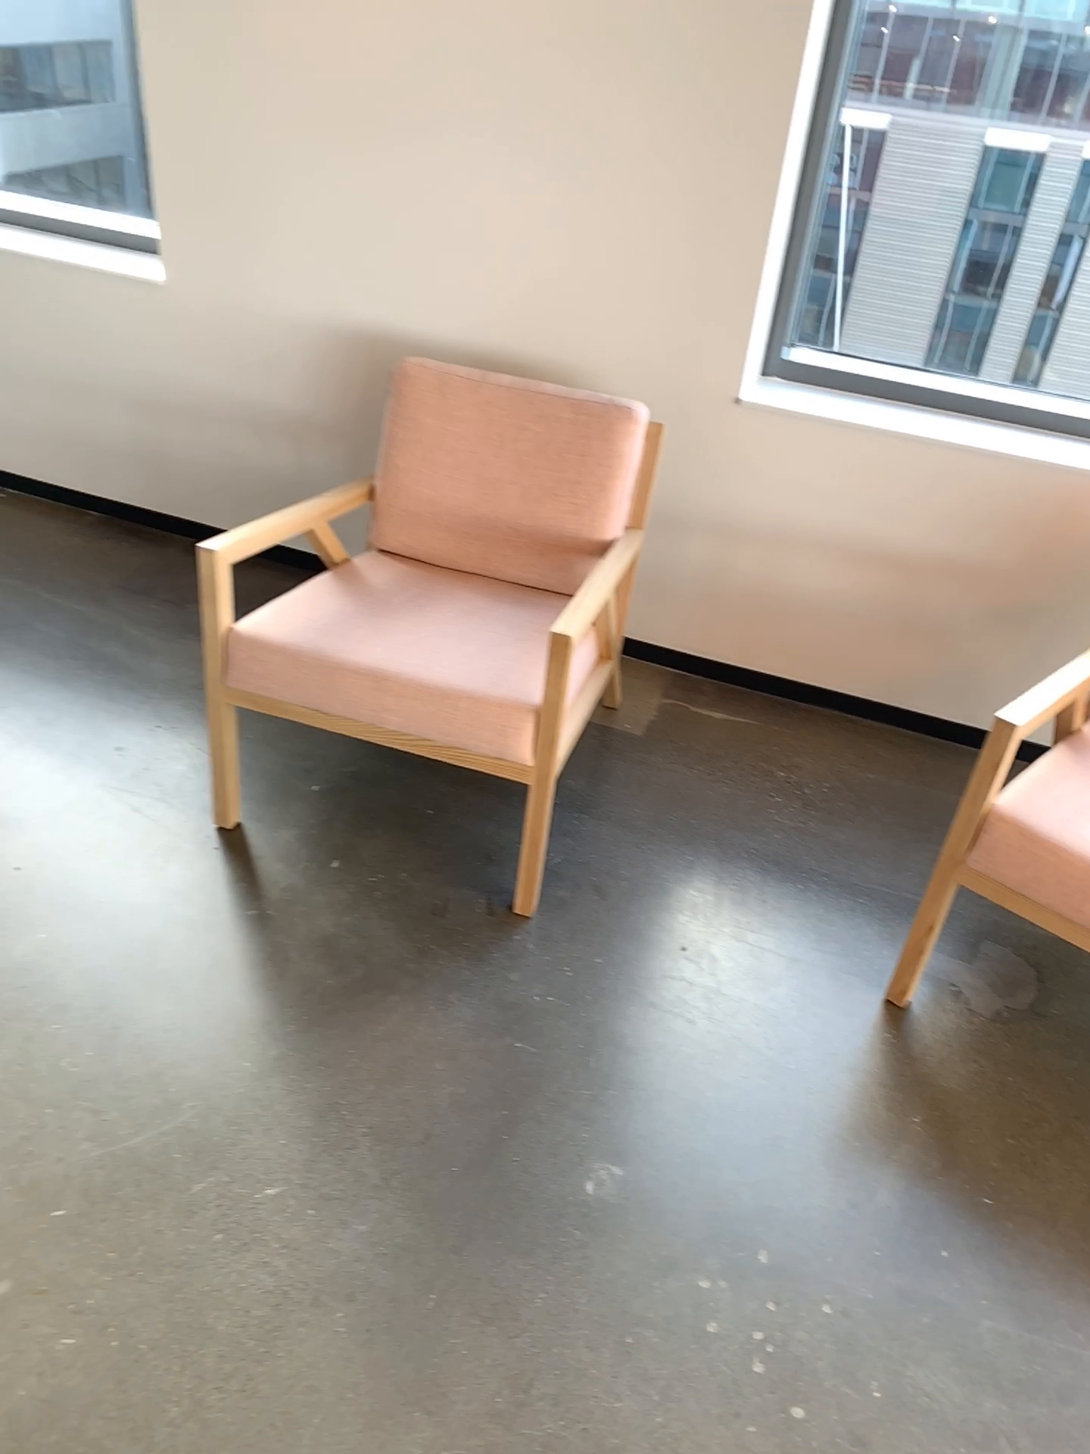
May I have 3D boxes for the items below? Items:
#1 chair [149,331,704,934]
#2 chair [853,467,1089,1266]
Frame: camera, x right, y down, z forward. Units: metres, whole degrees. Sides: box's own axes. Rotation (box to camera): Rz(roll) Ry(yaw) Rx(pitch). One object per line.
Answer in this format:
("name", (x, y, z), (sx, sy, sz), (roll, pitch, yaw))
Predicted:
("chair", (-0.193, -0.236, 2.235), (0.741, 0.795, 0.774), (16, 36, 14))
("chair", (1.118, 0.147, 1.830), (0.743, 0.795, 0.772), (29, 39, 30))
